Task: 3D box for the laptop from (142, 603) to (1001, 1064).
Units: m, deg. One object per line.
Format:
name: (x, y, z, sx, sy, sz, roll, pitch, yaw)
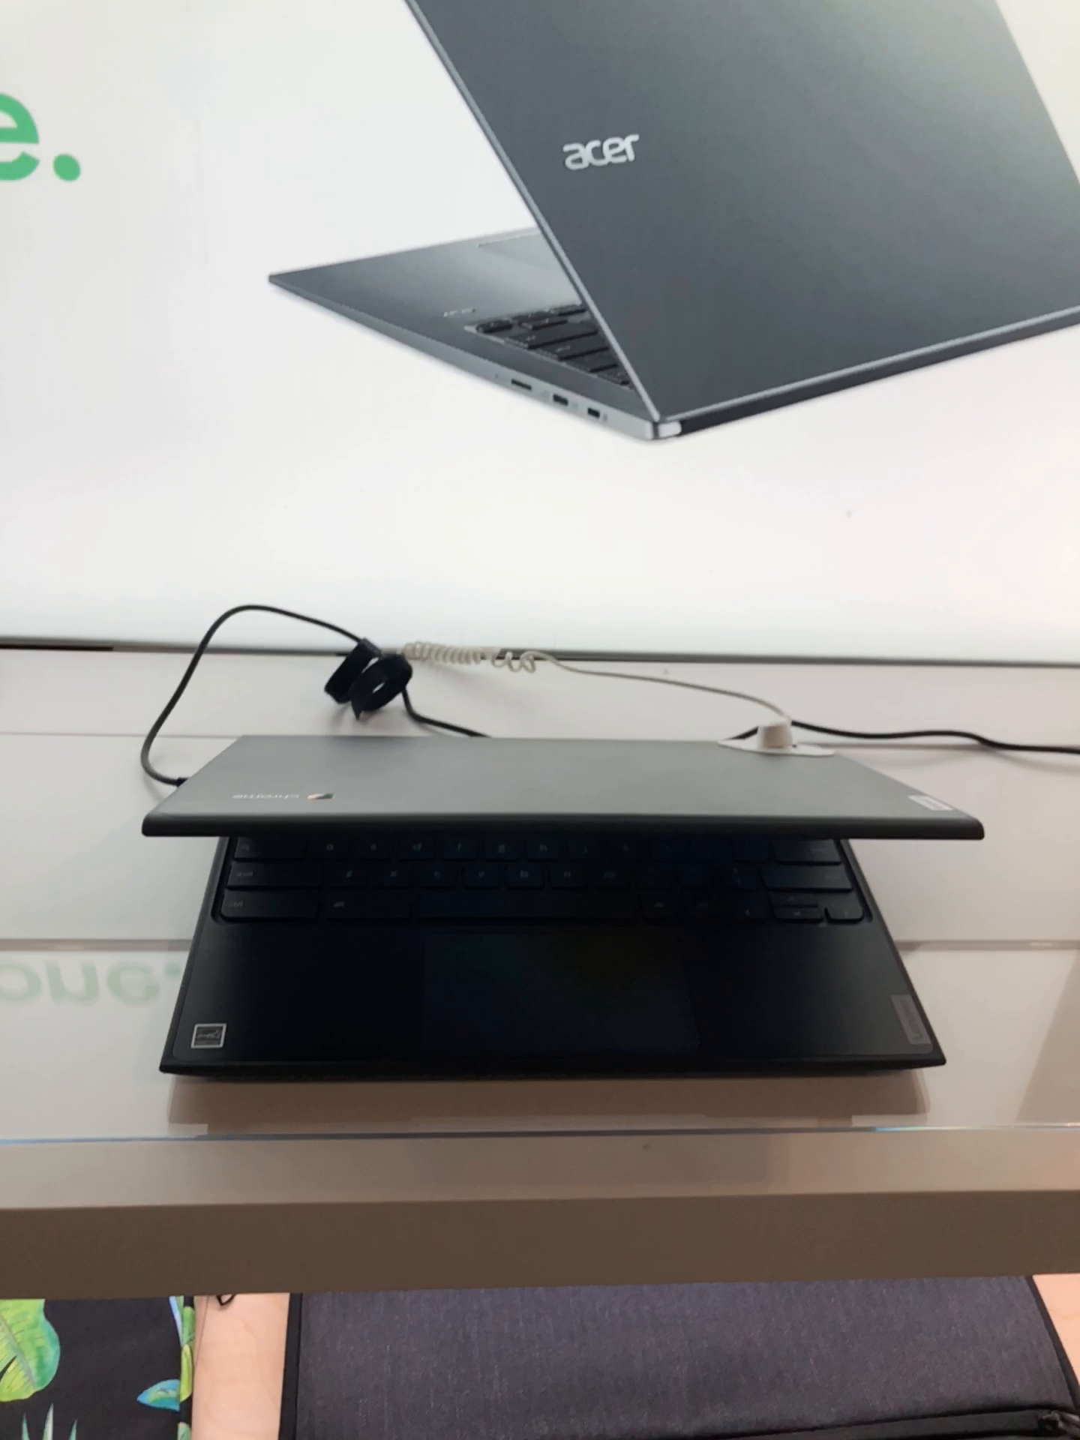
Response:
laptop: (0.003, 0.035, 0.478, 0.276, 0.072, 0.187, 1, 35, -2)
